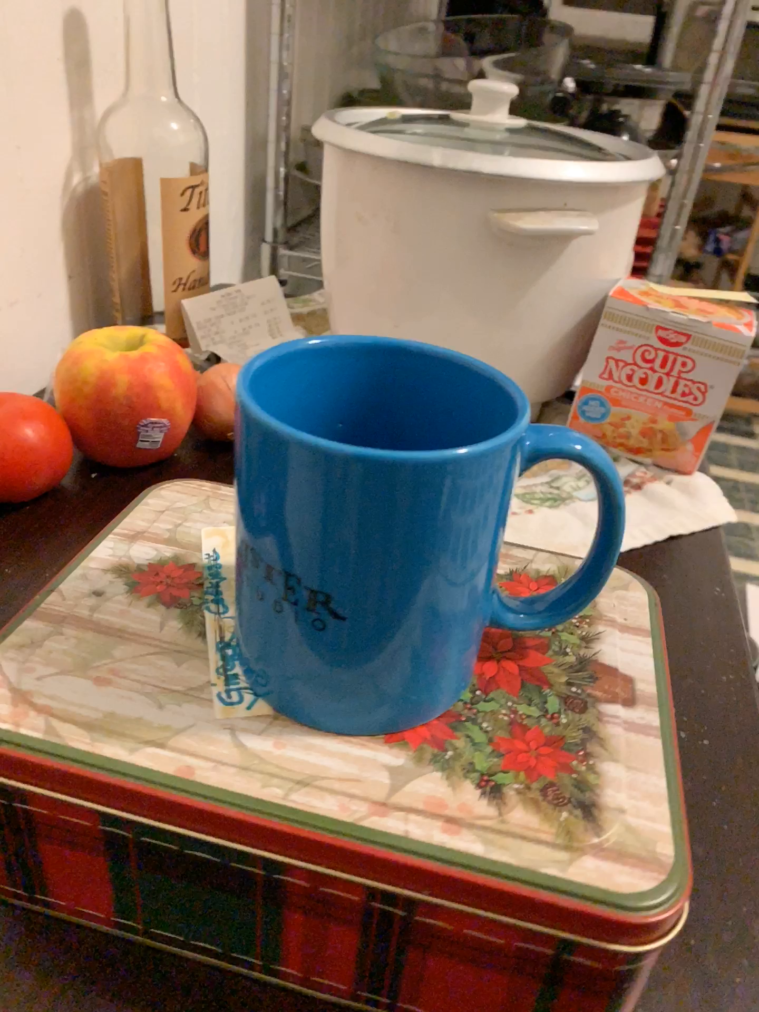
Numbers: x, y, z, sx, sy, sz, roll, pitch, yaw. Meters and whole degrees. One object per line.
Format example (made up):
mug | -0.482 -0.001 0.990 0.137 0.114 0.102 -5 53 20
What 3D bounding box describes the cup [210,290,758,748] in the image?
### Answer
cup | 0.016 0.000 0.241 0.130 0.099 0.091 0 32 -11
